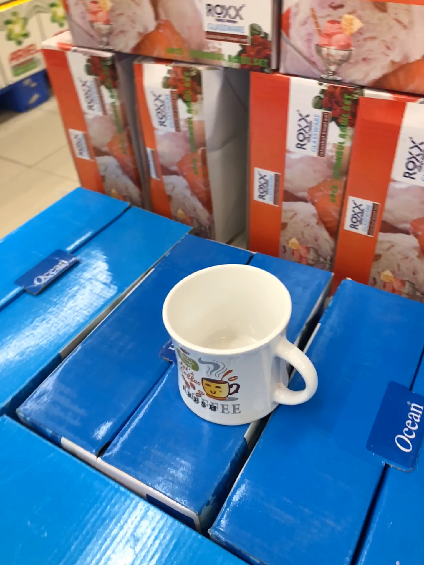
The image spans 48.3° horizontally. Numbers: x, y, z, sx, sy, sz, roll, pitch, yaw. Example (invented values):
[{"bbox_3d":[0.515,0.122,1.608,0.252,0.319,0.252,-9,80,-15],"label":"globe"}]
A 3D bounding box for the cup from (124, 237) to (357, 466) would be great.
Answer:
[{"bbox_3d":[0.017,0.035,0.270,0.100,0.070,0.070,20,49,23],"label":"cup"}]
